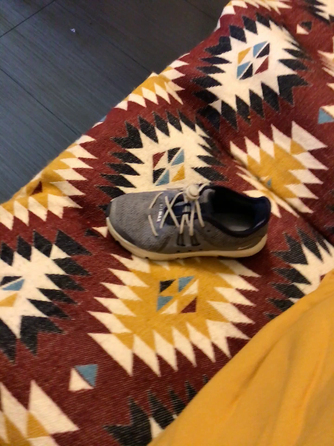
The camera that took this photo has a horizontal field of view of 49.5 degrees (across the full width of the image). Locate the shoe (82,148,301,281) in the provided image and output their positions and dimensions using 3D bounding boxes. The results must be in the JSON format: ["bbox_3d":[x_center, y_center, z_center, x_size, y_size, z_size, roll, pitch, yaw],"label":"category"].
[{"bbox_3d":[0.028,-0.008,0.401,0.211,0.074,0.094,9,68,3],"label":"shoe"}]
